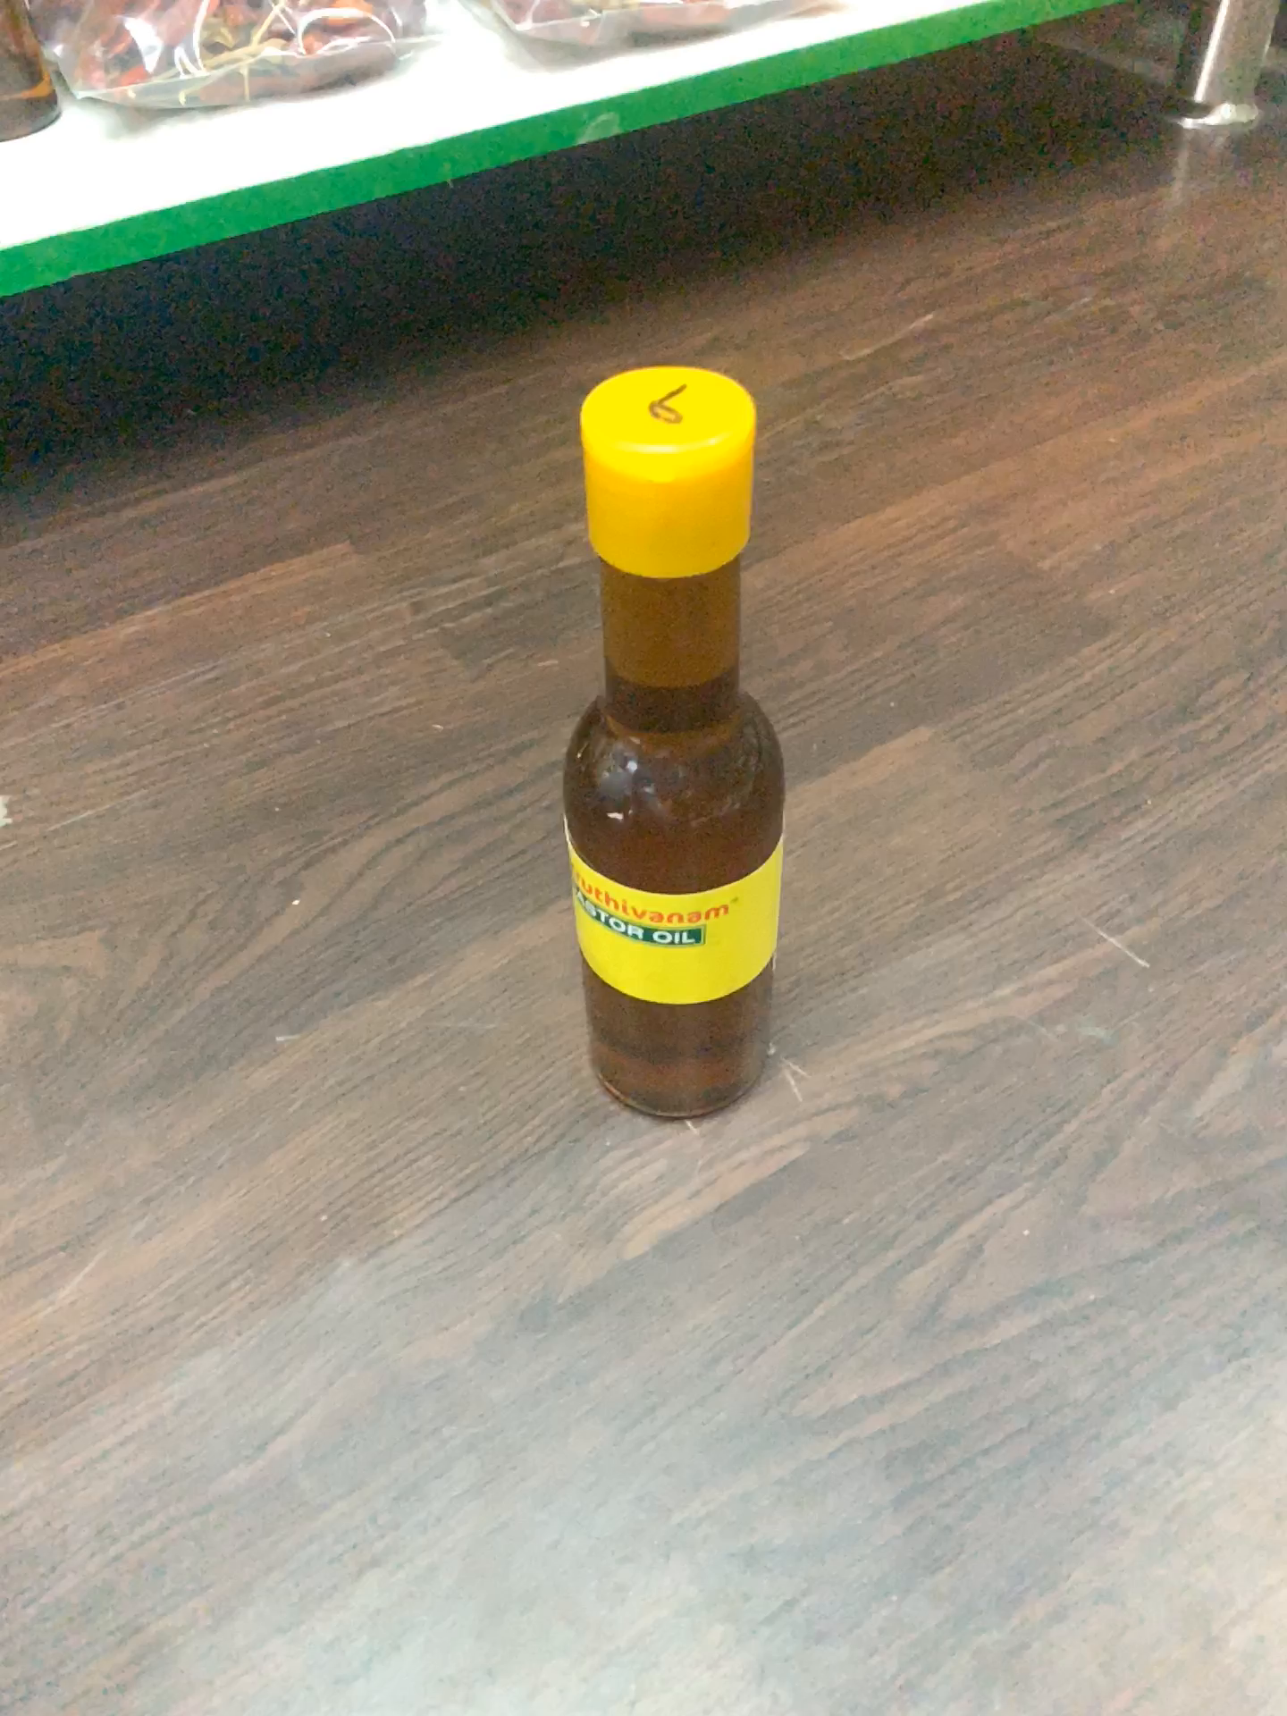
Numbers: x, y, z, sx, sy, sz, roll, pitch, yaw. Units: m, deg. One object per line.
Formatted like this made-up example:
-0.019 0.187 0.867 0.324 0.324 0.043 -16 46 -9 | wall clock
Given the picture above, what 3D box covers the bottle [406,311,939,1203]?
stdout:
0.007 -0.010 0.270 0.060 0.169 0.060 -1 47 1 | bottle
